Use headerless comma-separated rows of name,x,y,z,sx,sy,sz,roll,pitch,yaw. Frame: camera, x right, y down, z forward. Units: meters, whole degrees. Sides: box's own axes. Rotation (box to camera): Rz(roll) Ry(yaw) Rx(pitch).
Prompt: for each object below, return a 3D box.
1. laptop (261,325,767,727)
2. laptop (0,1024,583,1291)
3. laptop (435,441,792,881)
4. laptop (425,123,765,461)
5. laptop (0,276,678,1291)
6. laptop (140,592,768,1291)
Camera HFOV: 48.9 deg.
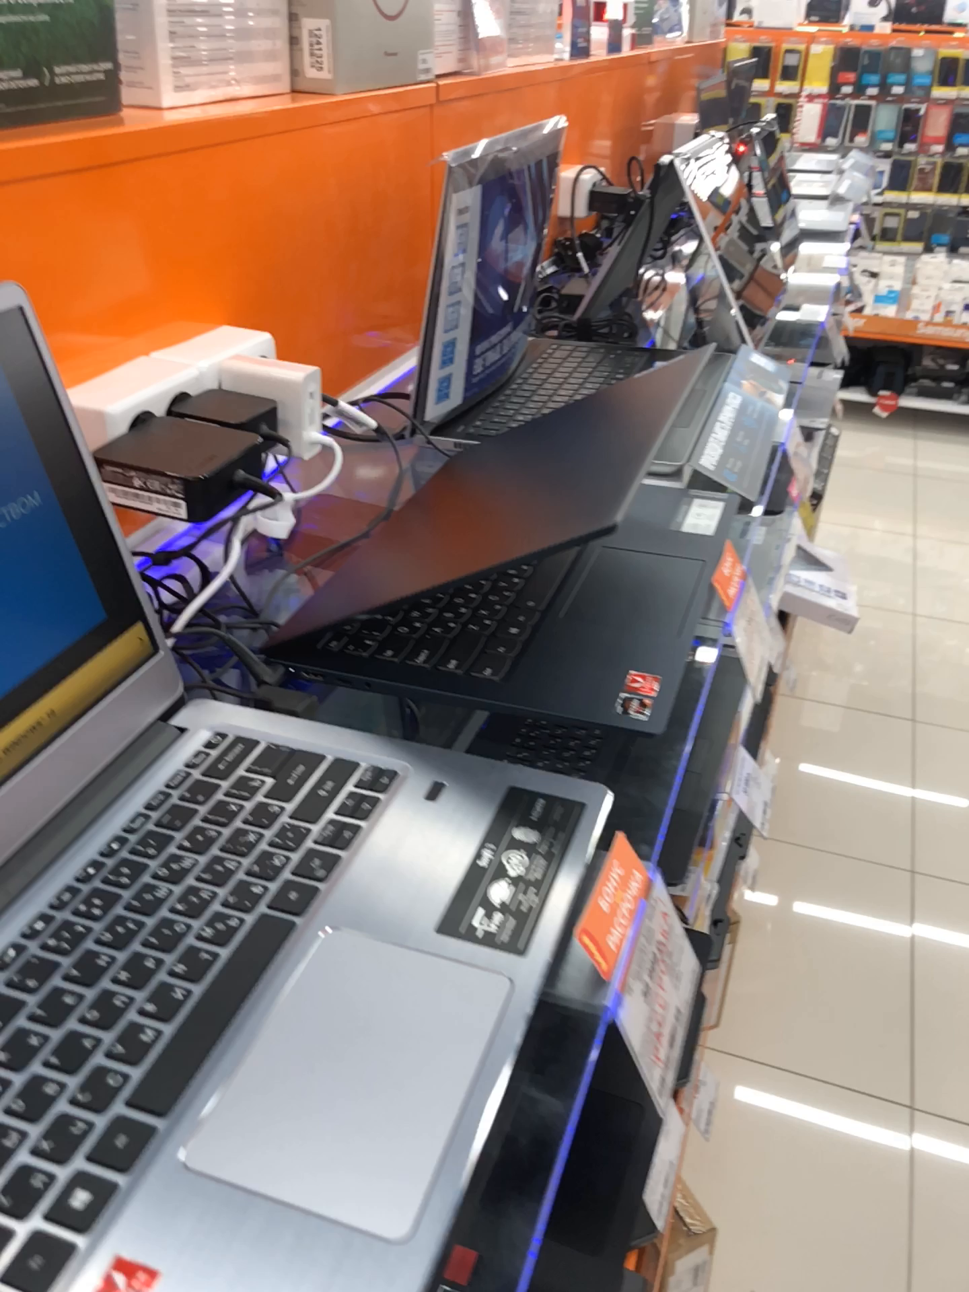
laptop,0.038,-0.097,0.656,0.211,0.106,0.300,11,33,17
laptop,-0.123,0.356,0.322,0.235,0.207,0.349,11,30,15
laptop,0.127,-0.012,0.977,0.225,0.215,0.354,12,32,18
laptop,0.103,-0.331,0.939,0.228,0.213,0.307,10,31,18
laptop,-0.087,0.030,0.325,0.224,0.203,0.317,11,31,16
laptop,0.008,0.170,0.652,0.246,0.230,0.344,13,32,19
